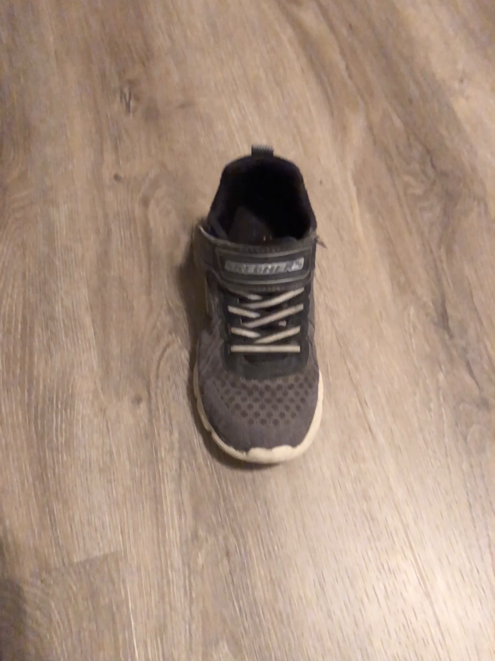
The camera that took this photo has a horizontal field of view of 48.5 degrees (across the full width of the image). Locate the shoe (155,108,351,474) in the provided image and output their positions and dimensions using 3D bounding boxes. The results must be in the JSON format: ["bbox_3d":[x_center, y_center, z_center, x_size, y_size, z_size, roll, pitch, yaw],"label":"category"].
[{"bbox_3d":[0.004,-0.029,0.377,0.100,0.100,0.230,0,64,0],"label":"shoe"}]
